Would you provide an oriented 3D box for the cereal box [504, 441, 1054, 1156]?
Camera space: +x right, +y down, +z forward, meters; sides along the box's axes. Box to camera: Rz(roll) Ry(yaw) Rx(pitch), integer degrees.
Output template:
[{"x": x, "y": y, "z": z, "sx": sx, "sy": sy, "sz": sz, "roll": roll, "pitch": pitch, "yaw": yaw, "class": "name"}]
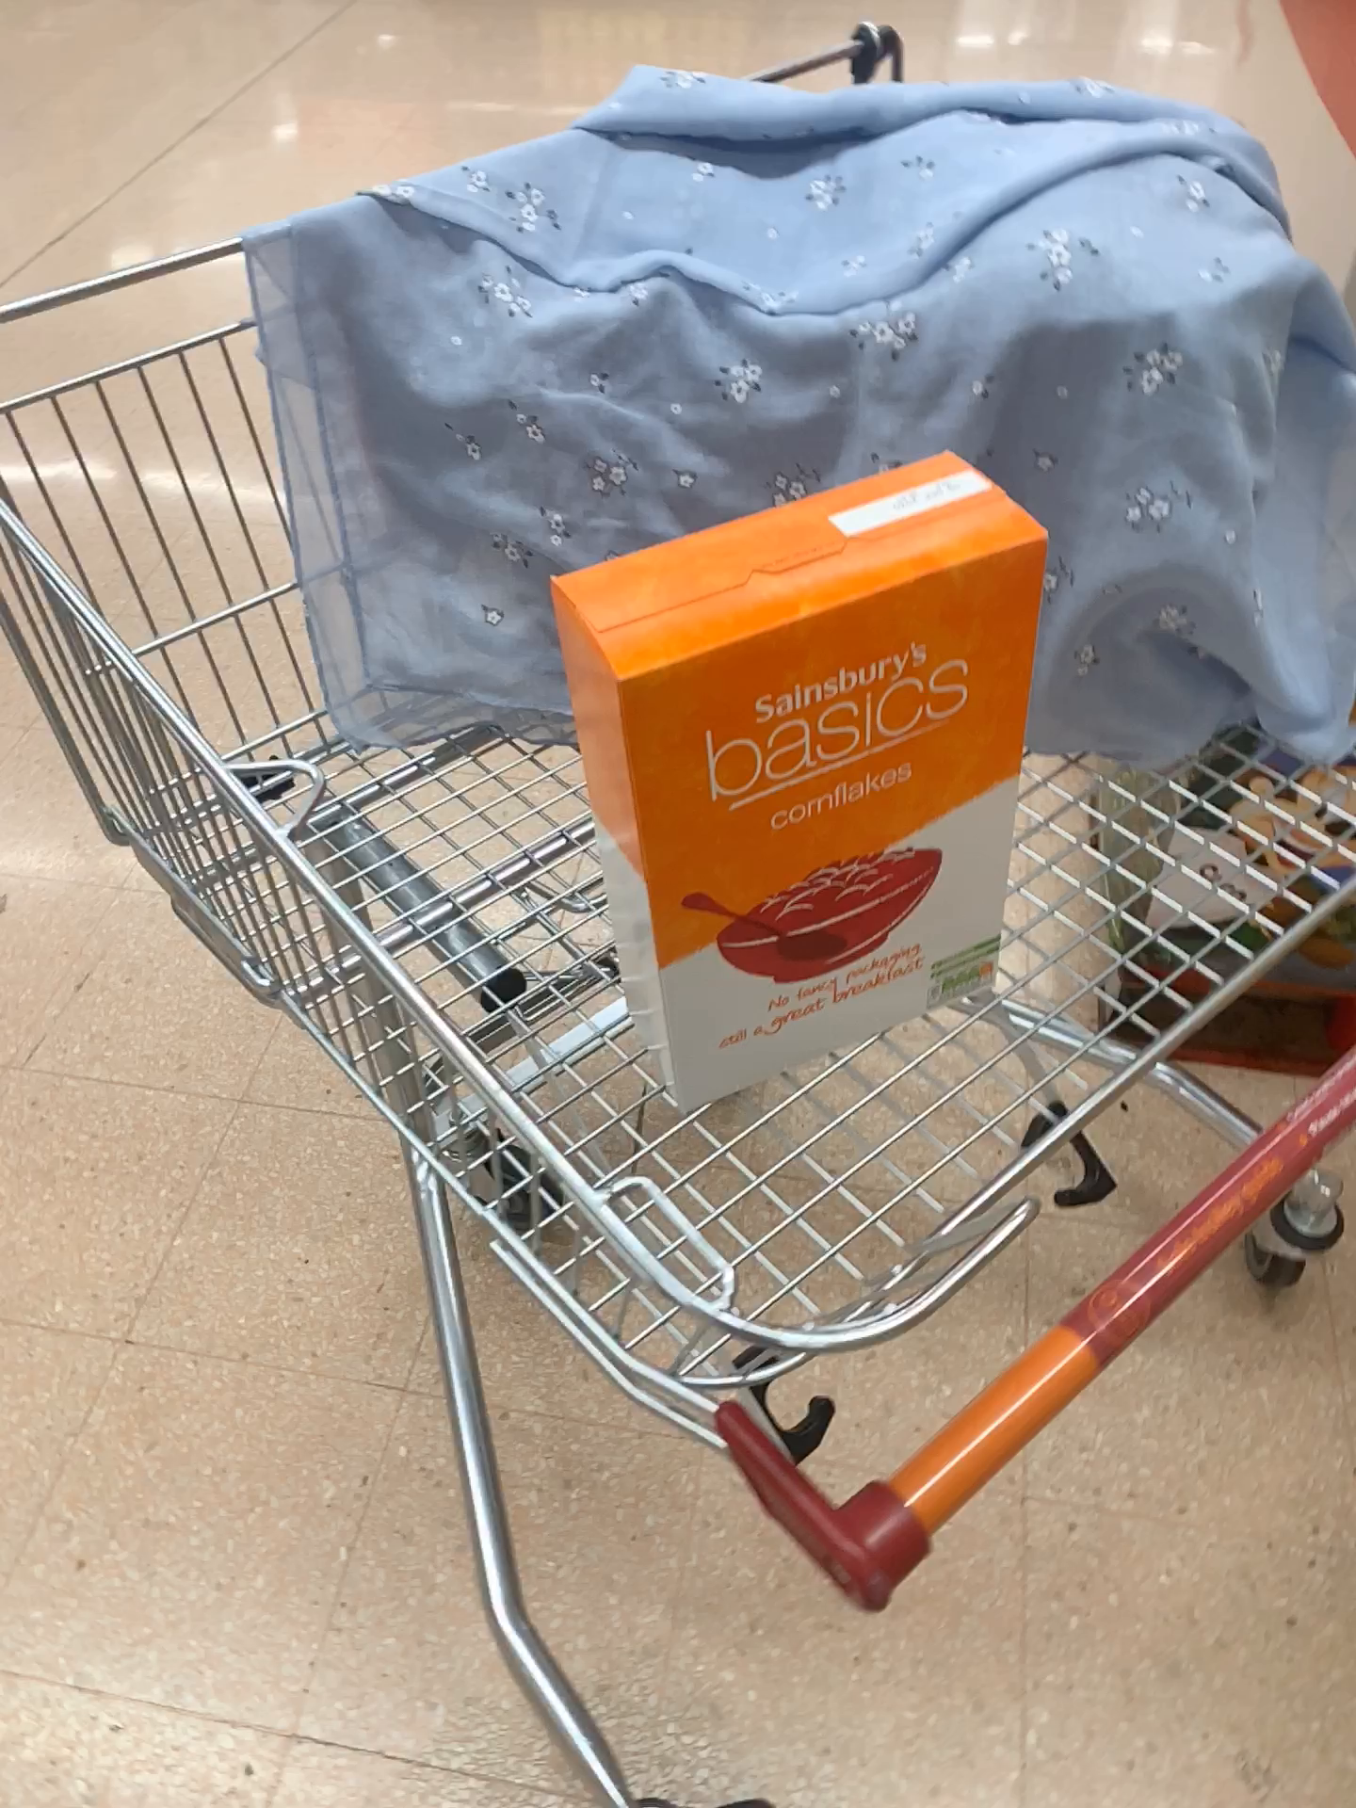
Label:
[{"x": 0.055, "y": -0.036, "z": 0.670, "sx": 0.210, "sy": 0.307, "sz": 0.081, "roll": -21, "pitch": 46, "yaw": -13, "class": "cereal box"}]
